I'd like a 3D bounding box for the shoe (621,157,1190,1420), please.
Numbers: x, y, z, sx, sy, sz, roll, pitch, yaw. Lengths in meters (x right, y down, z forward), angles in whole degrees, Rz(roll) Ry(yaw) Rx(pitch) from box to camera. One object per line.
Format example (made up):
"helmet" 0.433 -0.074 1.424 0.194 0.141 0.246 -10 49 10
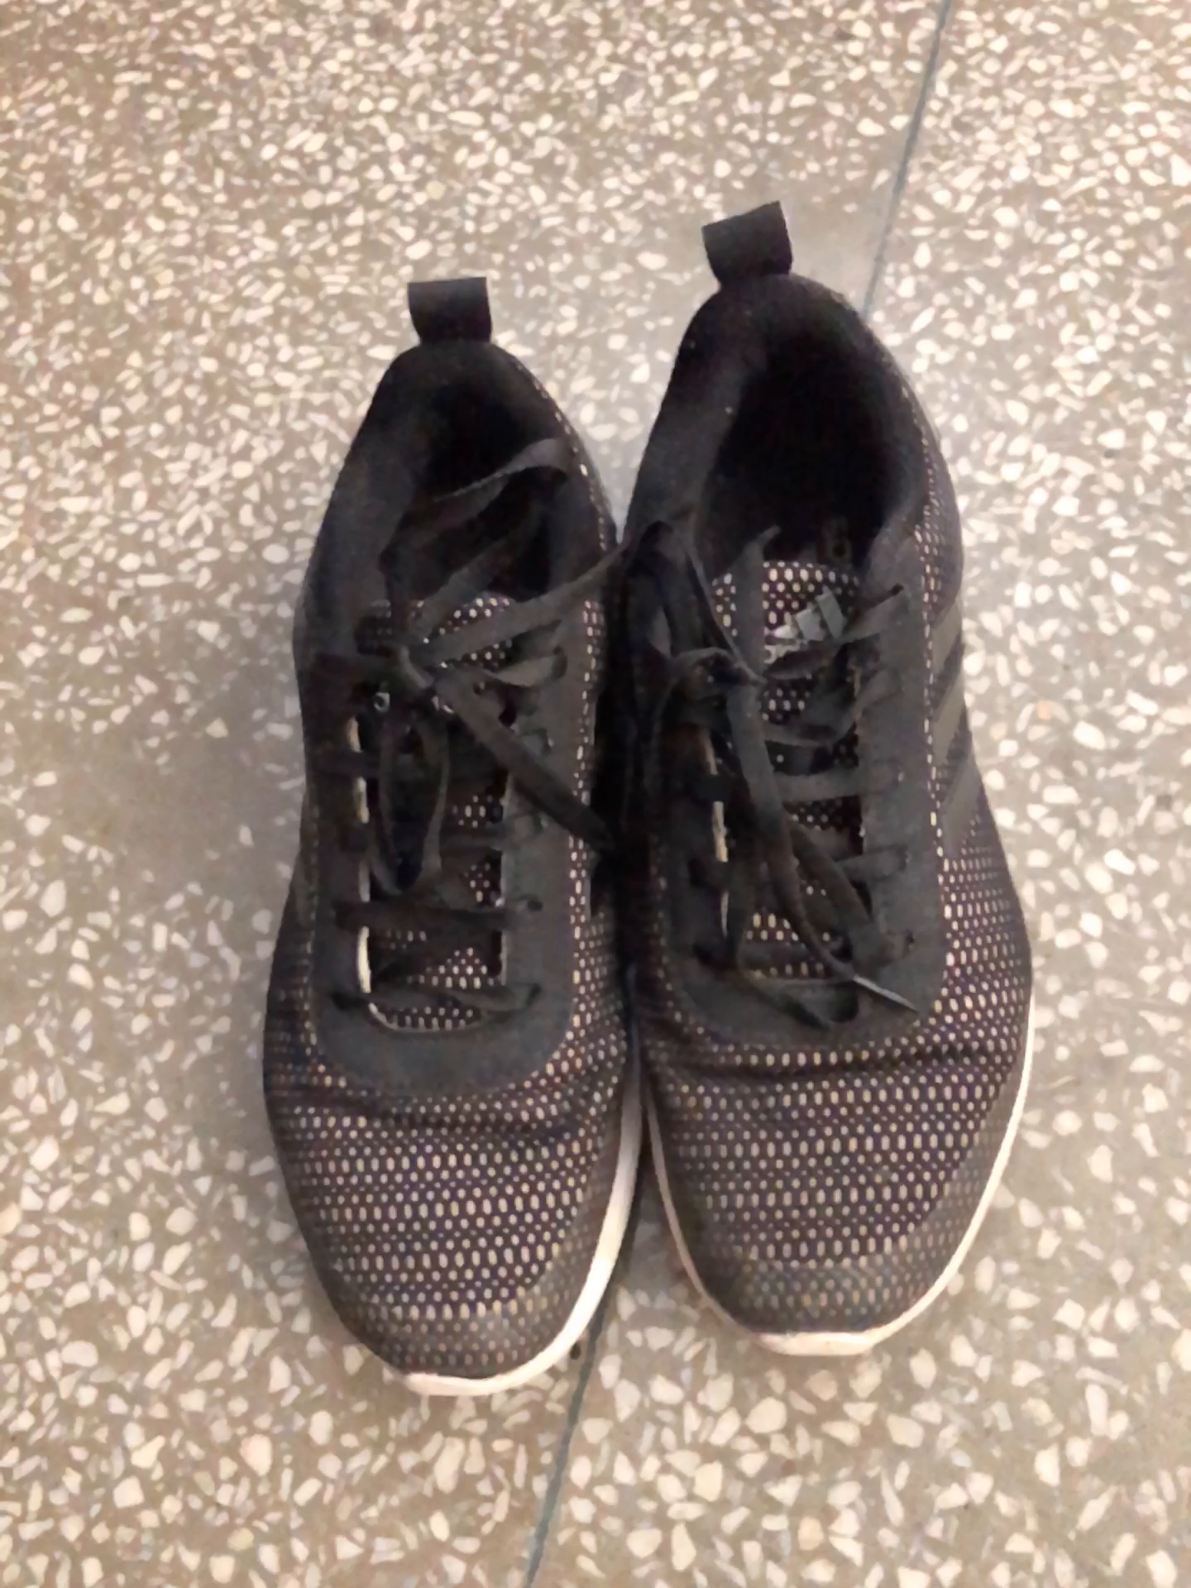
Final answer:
"shoe" 0.061 -0.008 0.308 0.100 0.080 0.270 -3 69 7

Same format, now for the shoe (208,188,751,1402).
"shoe" -0.024 -0.006 0.332 0.100 0.080 0.280 -5 69 6
